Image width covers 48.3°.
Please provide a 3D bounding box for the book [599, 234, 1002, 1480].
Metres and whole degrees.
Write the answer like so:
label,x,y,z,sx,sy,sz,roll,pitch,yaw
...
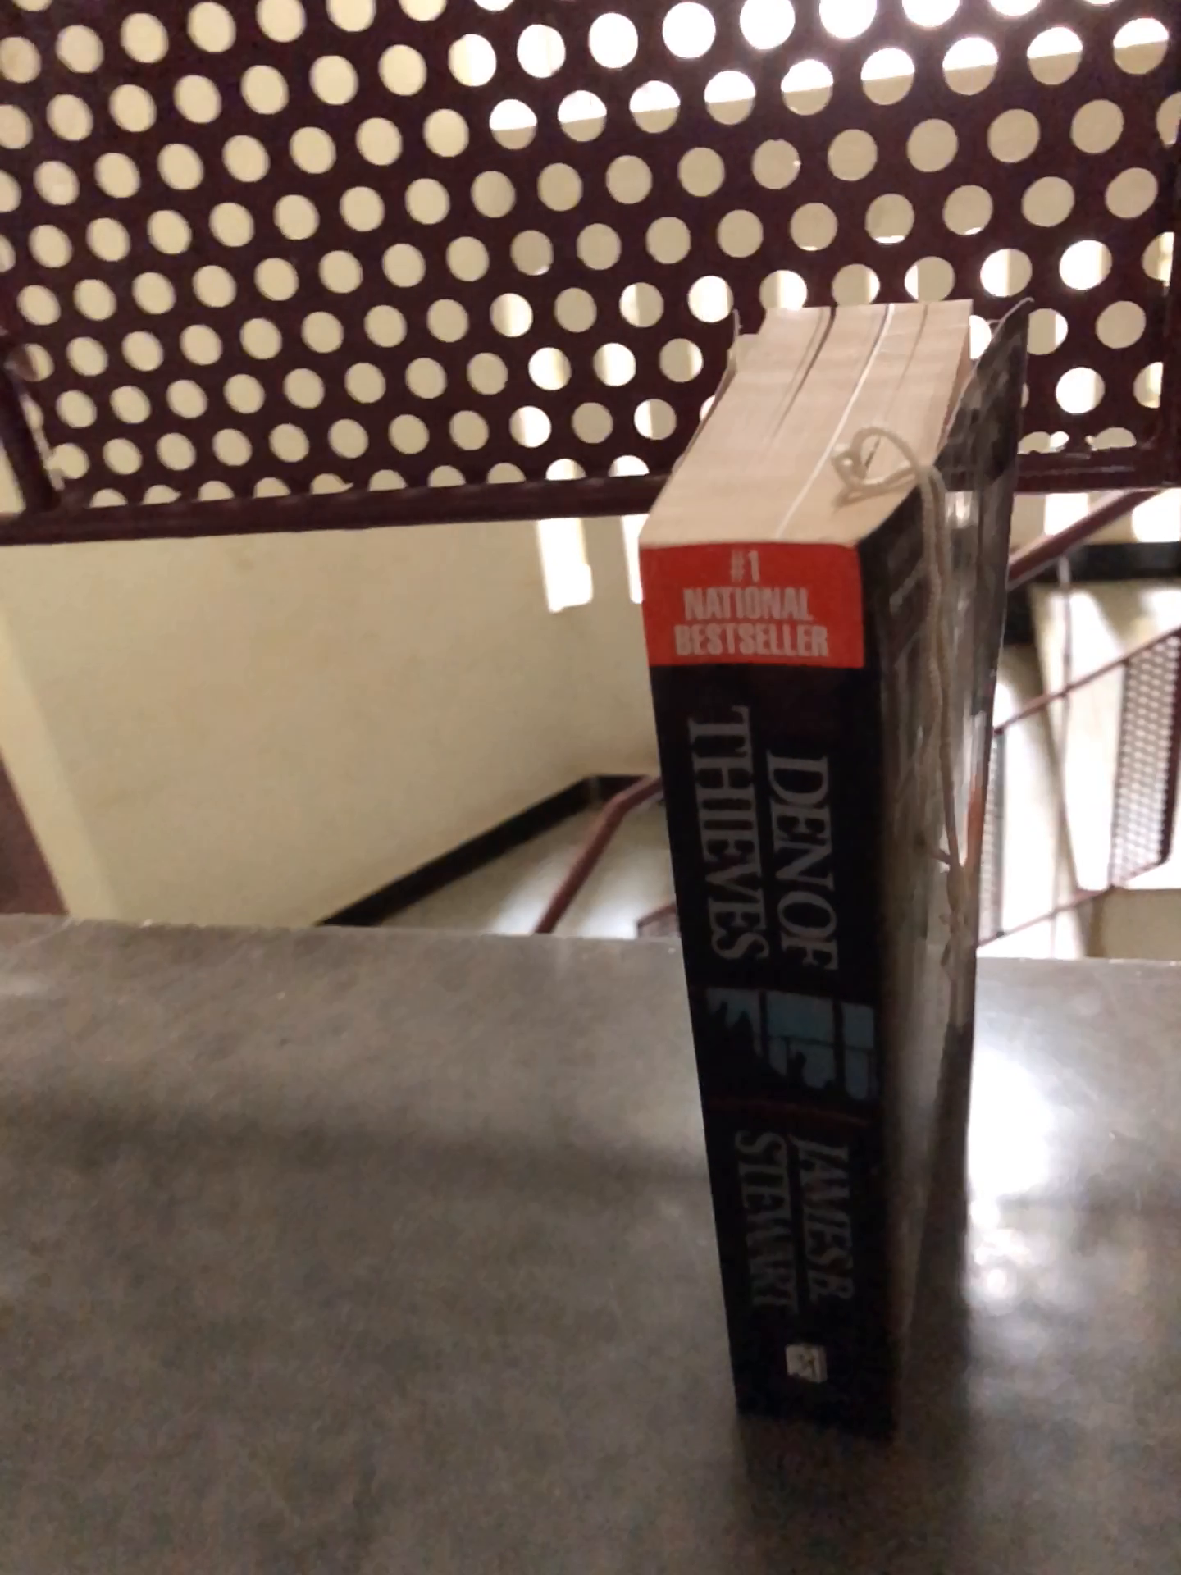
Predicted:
label,x,y,z,sx,sy,sz,roll,pitch,yaw
book,0.063,0.009,0.302,0.050,0.219,0.171,2,33,18
